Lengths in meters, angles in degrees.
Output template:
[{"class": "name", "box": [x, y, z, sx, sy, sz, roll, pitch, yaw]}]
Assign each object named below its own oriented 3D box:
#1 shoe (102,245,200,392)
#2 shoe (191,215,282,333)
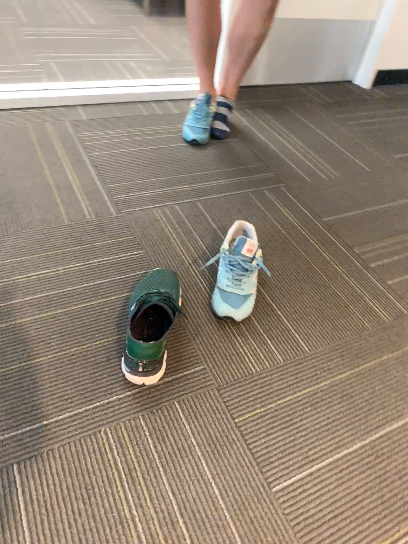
[{"class": "shoe", "box": [-0.107, 0.089, 0.928, 0.140, 0.090, 0.322, 11, 44, 0]}, {"class": "shoe", "box": [0.086, -0.006, 1.020, 0.170, 0.090, 0.281, 13, 44, 3]}]
